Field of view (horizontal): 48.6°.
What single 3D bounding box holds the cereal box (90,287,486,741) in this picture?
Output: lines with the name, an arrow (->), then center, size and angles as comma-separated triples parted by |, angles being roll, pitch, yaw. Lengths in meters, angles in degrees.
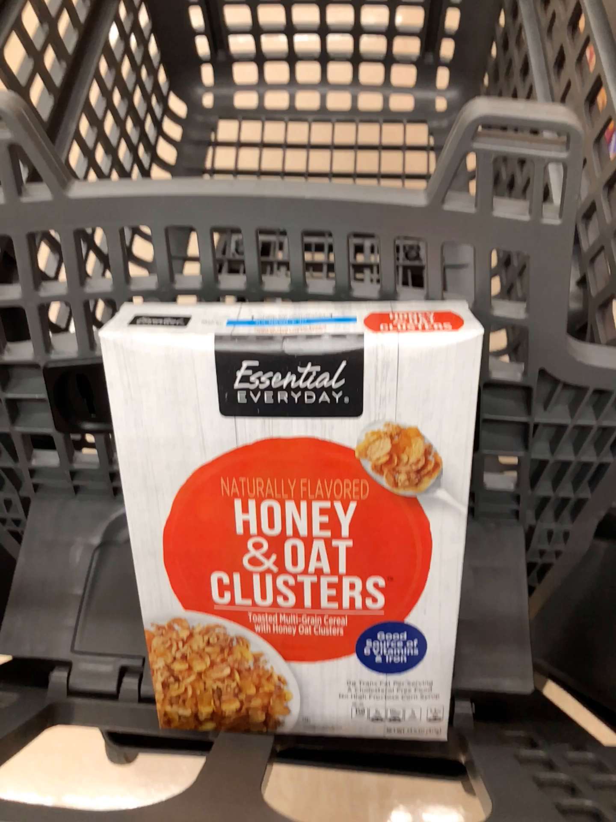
cereal box -> -0.007, 0.071, 0.418 | 0.190, 0.280, 0.070 | 0, 25, 3
